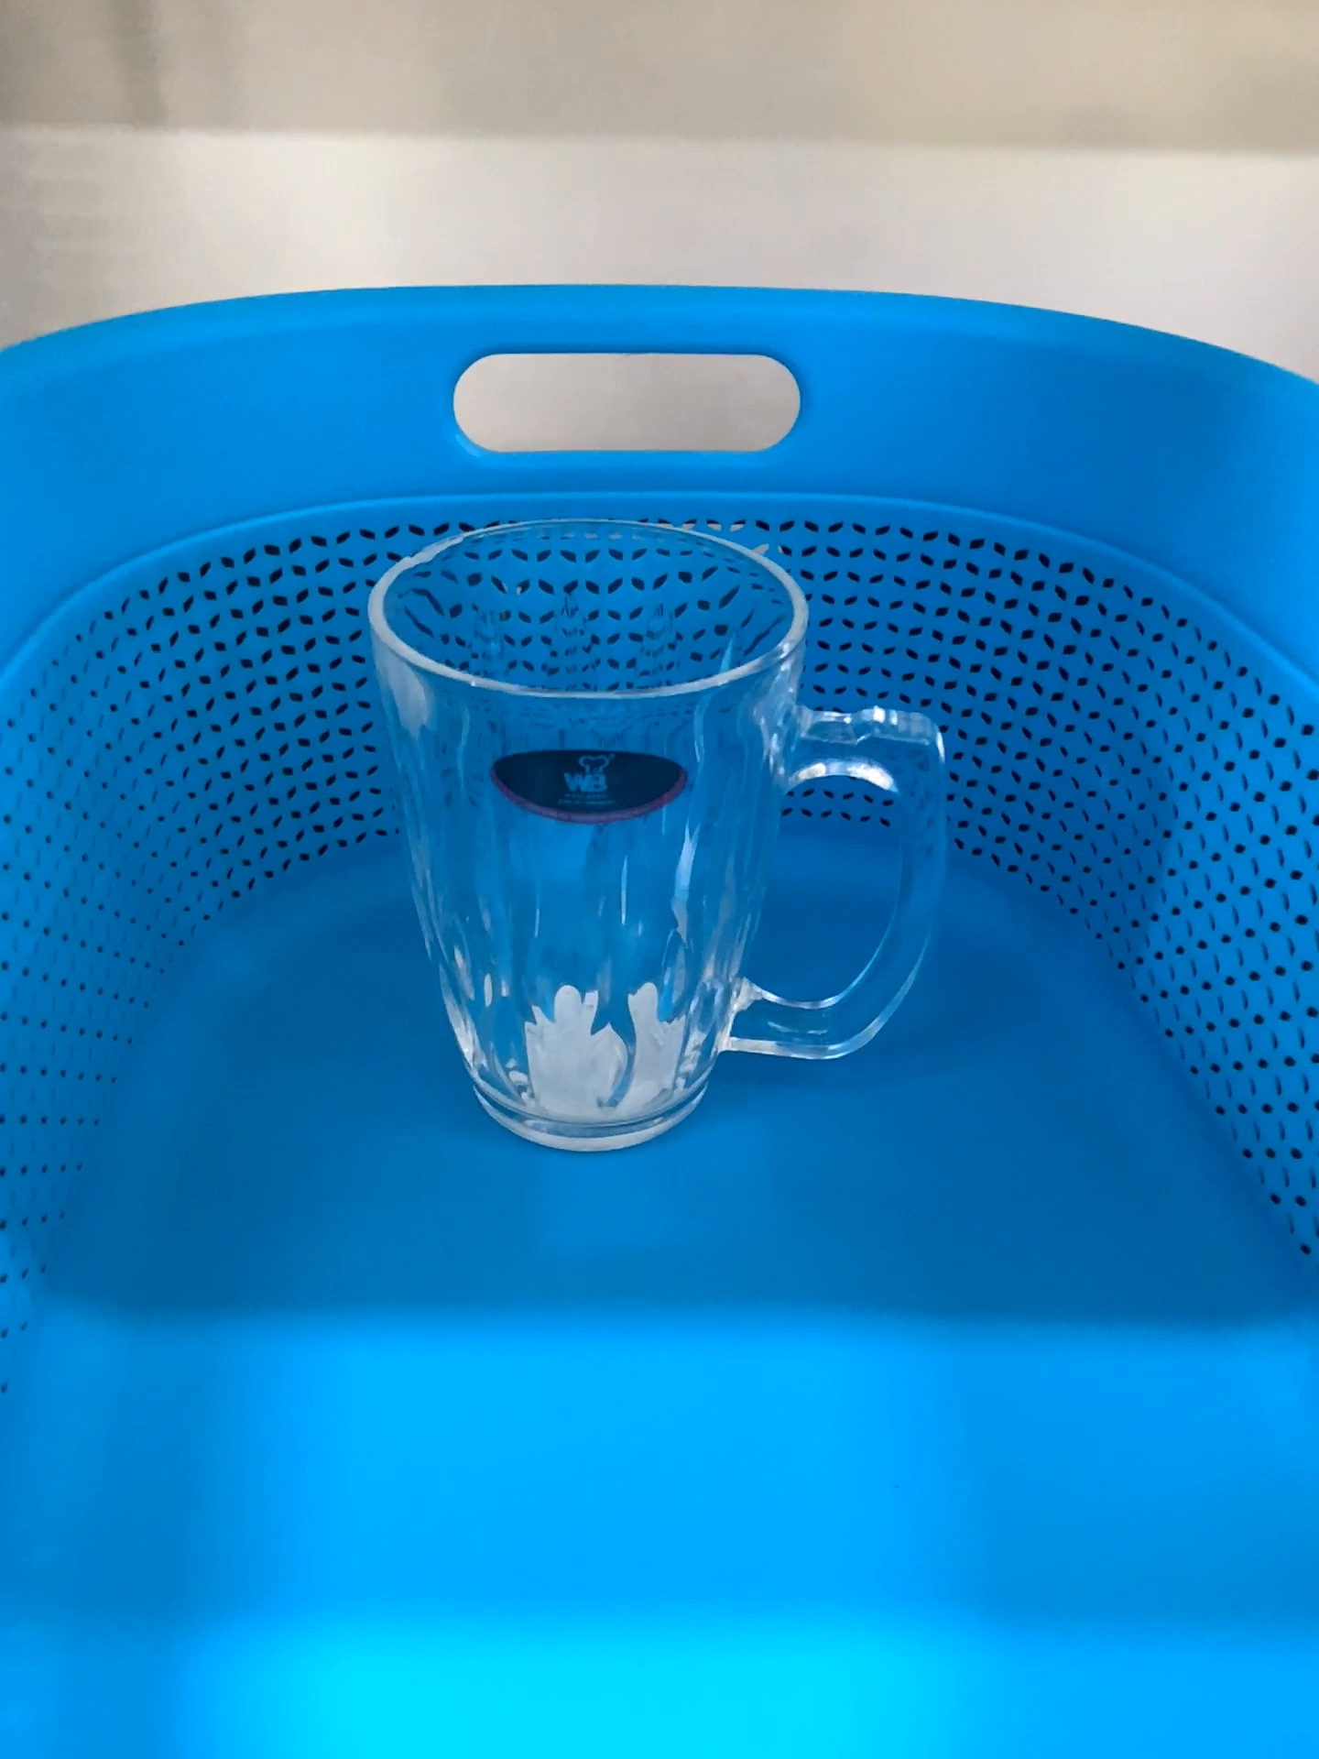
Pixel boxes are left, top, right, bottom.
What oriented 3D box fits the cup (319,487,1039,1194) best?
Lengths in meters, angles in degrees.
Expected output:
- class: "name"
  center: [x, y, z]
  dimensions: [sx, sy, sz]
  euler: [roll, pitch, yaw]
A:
- class: "cup"
  center: [0.003, -0.009, 0.272]
  dimensions: [0.110, 0.109, 0.081]
  euler: [3, 35, 2]
